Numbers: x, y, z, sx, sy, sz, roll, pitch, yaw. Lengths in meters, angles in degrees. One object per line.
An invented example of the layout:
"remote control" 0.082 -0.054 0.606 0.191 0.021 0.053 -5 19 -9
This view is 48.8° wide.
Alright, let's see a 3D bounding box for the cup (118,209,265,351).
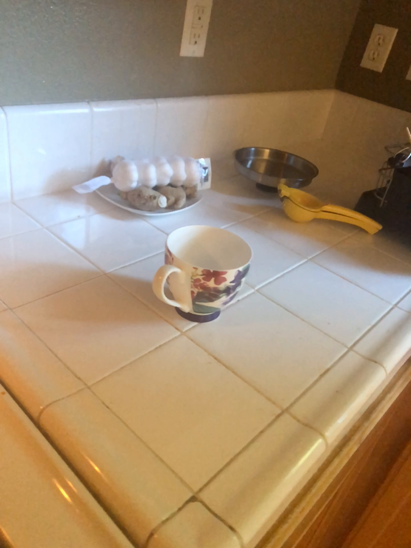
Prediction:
"cup" -0.013 -0.002 0.552 0.110 0.079 0.151 23 34 17
